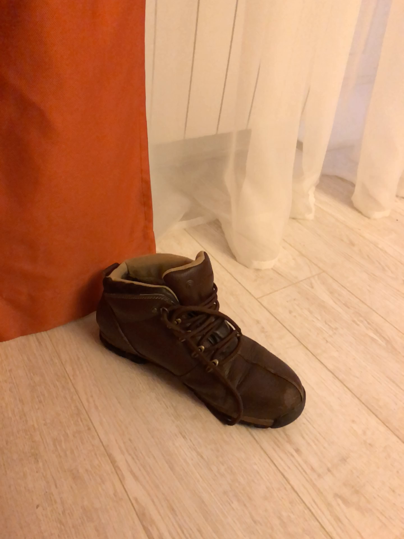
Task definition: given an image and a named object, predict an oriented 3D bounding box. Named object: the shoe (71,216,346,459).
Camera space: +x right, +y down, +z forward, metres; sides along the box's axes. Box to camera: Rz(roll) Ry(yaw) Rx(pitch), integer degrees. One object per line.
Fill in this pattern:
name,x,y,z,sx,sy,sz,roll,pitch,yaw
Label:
shoe,-0.003,0.073,0.555,0.300,0.159,0.111,22,40,21
